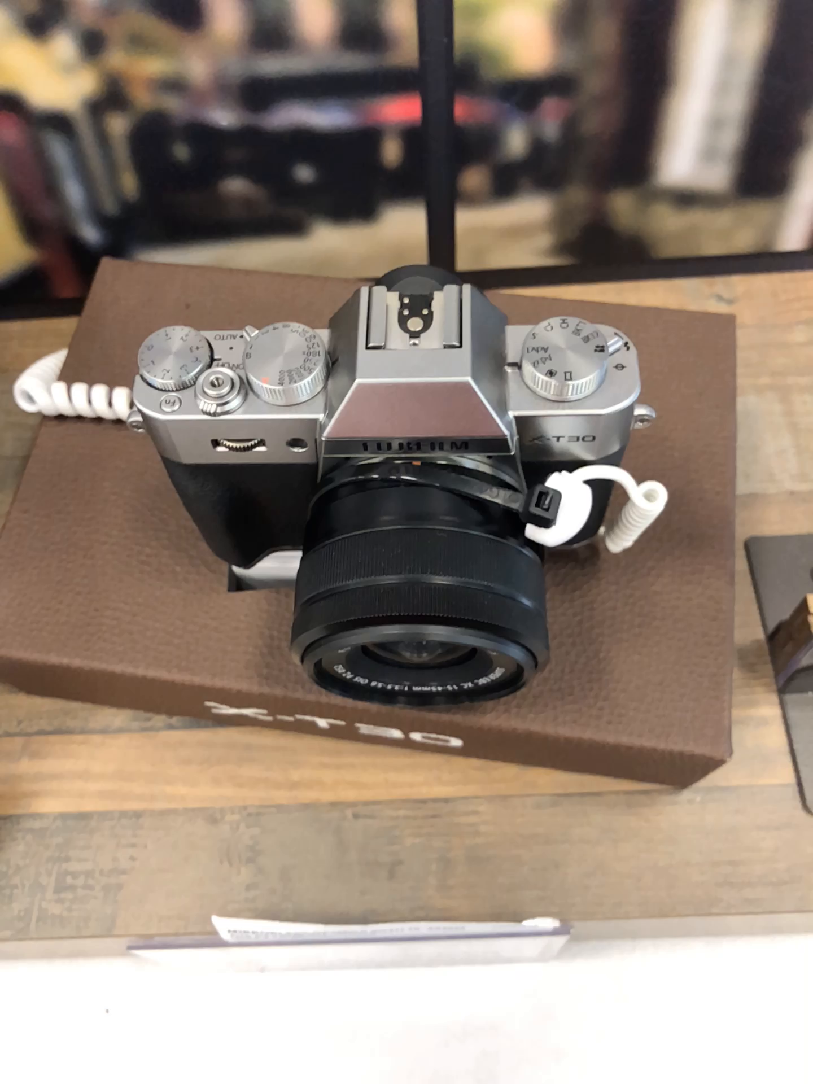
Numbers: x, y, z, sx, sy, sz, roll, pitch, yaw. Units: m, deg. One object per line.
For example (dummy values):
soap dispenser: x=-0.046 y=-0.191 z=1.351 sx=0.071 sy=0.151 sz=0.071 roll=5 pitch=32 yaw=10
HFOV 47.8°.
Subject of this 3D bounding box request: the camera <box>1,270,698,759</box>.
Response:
camera: x=-0.008 y=-0.004 z=0.226 sx=0.130 sy=0.080 sz=0.090 roll=1 pitch=63 yaw=4
